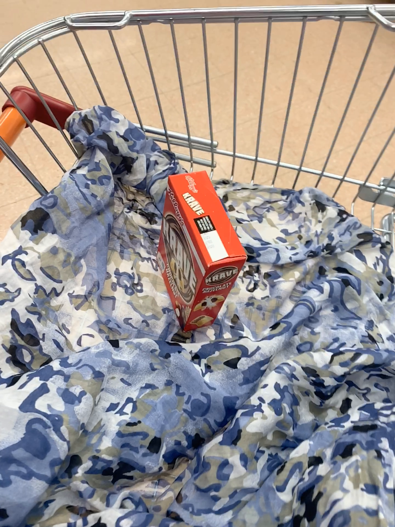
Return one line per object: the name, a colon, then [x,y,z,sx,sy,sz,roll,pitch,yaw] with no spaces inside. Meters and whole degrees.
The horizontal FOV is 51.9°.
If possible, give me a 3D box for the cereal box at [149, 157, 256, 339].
cereal box: [-0.005,-0.006,0.362,0.040,0.149,0.090,-13,63,-18]
